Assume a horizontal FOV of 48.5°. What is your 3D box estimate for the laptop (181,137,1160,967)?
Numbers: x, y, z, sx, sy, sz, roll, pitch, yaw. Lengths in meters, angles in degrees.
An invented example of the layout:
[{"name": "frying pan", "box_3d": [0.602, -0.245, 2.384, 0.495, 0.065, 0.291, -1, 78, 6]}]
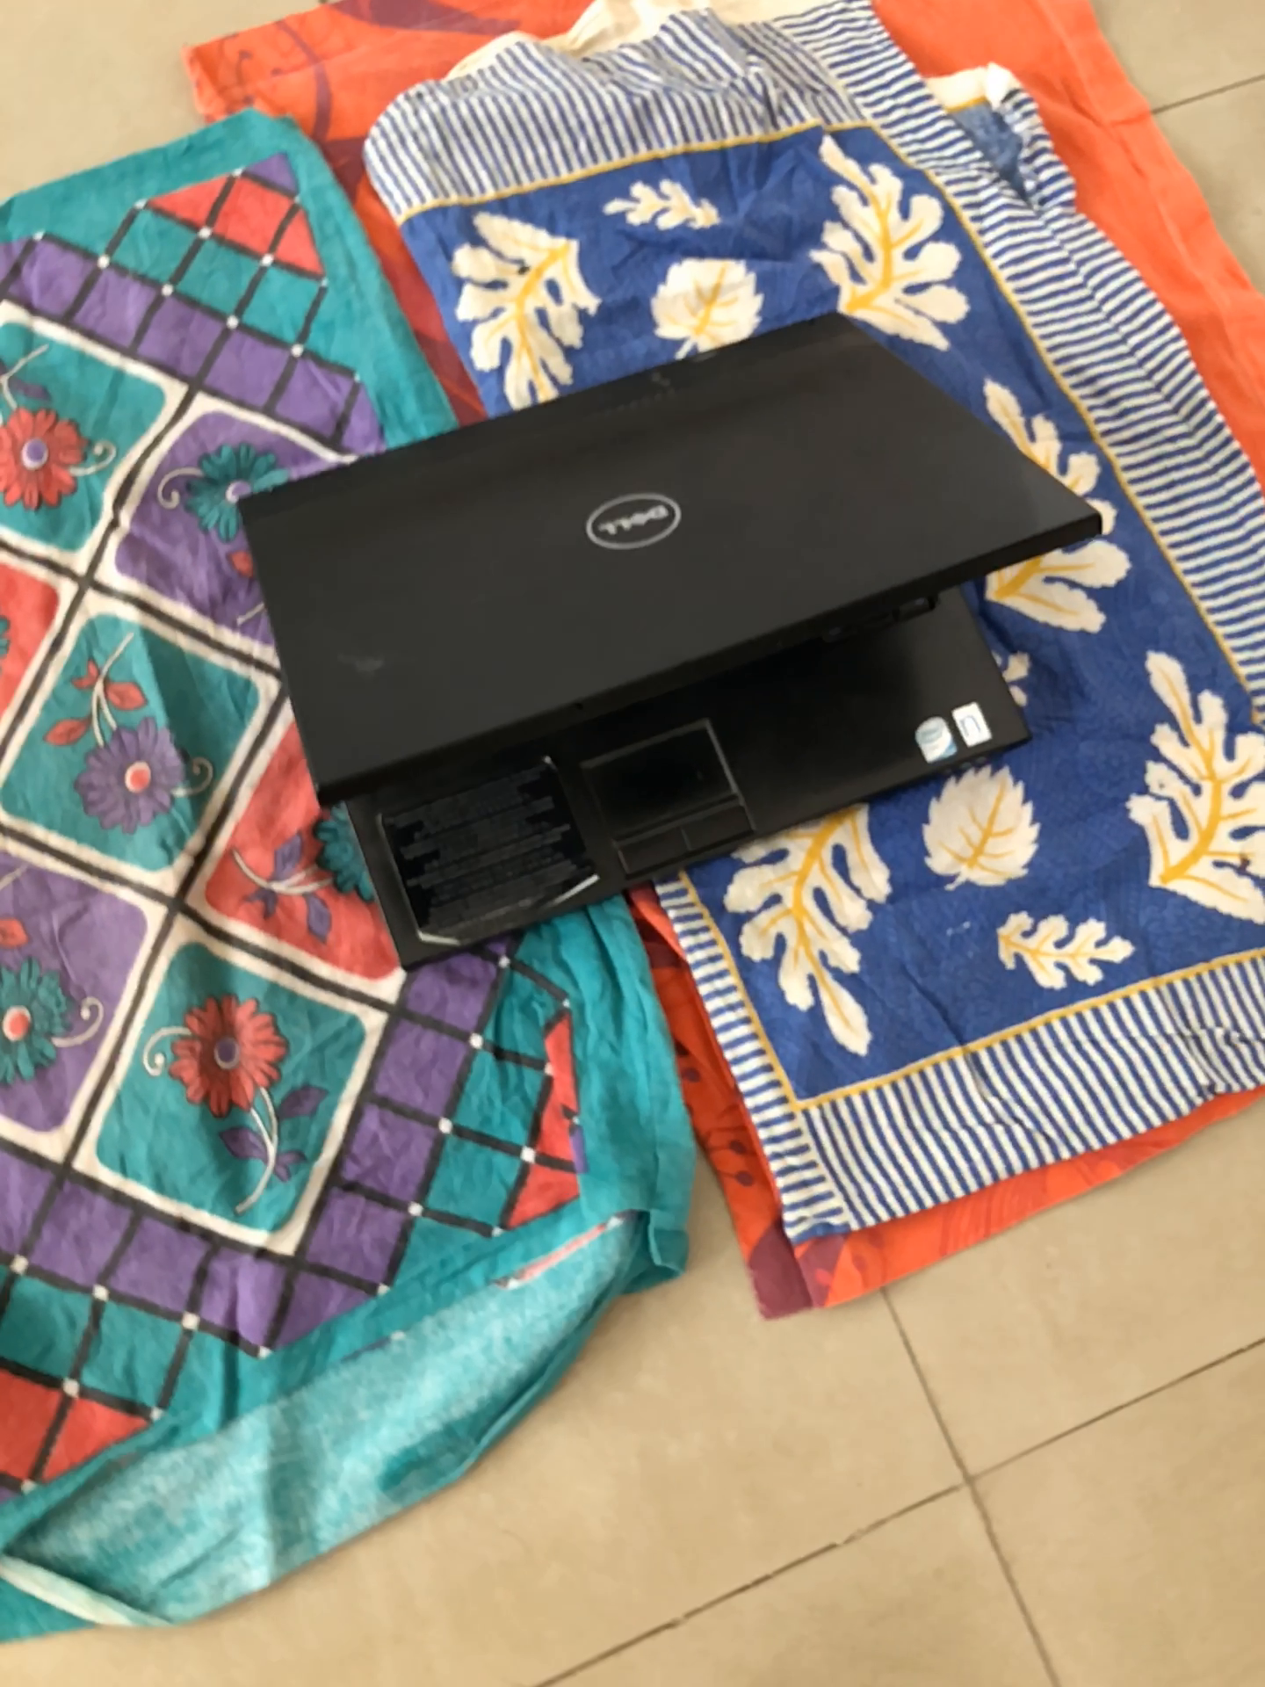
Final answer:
[{"name": "laptop", "box_3d": [0.008, -0.119, 0.596, 0.299, 0.144, 0.234, -20, 75, -8]}]
